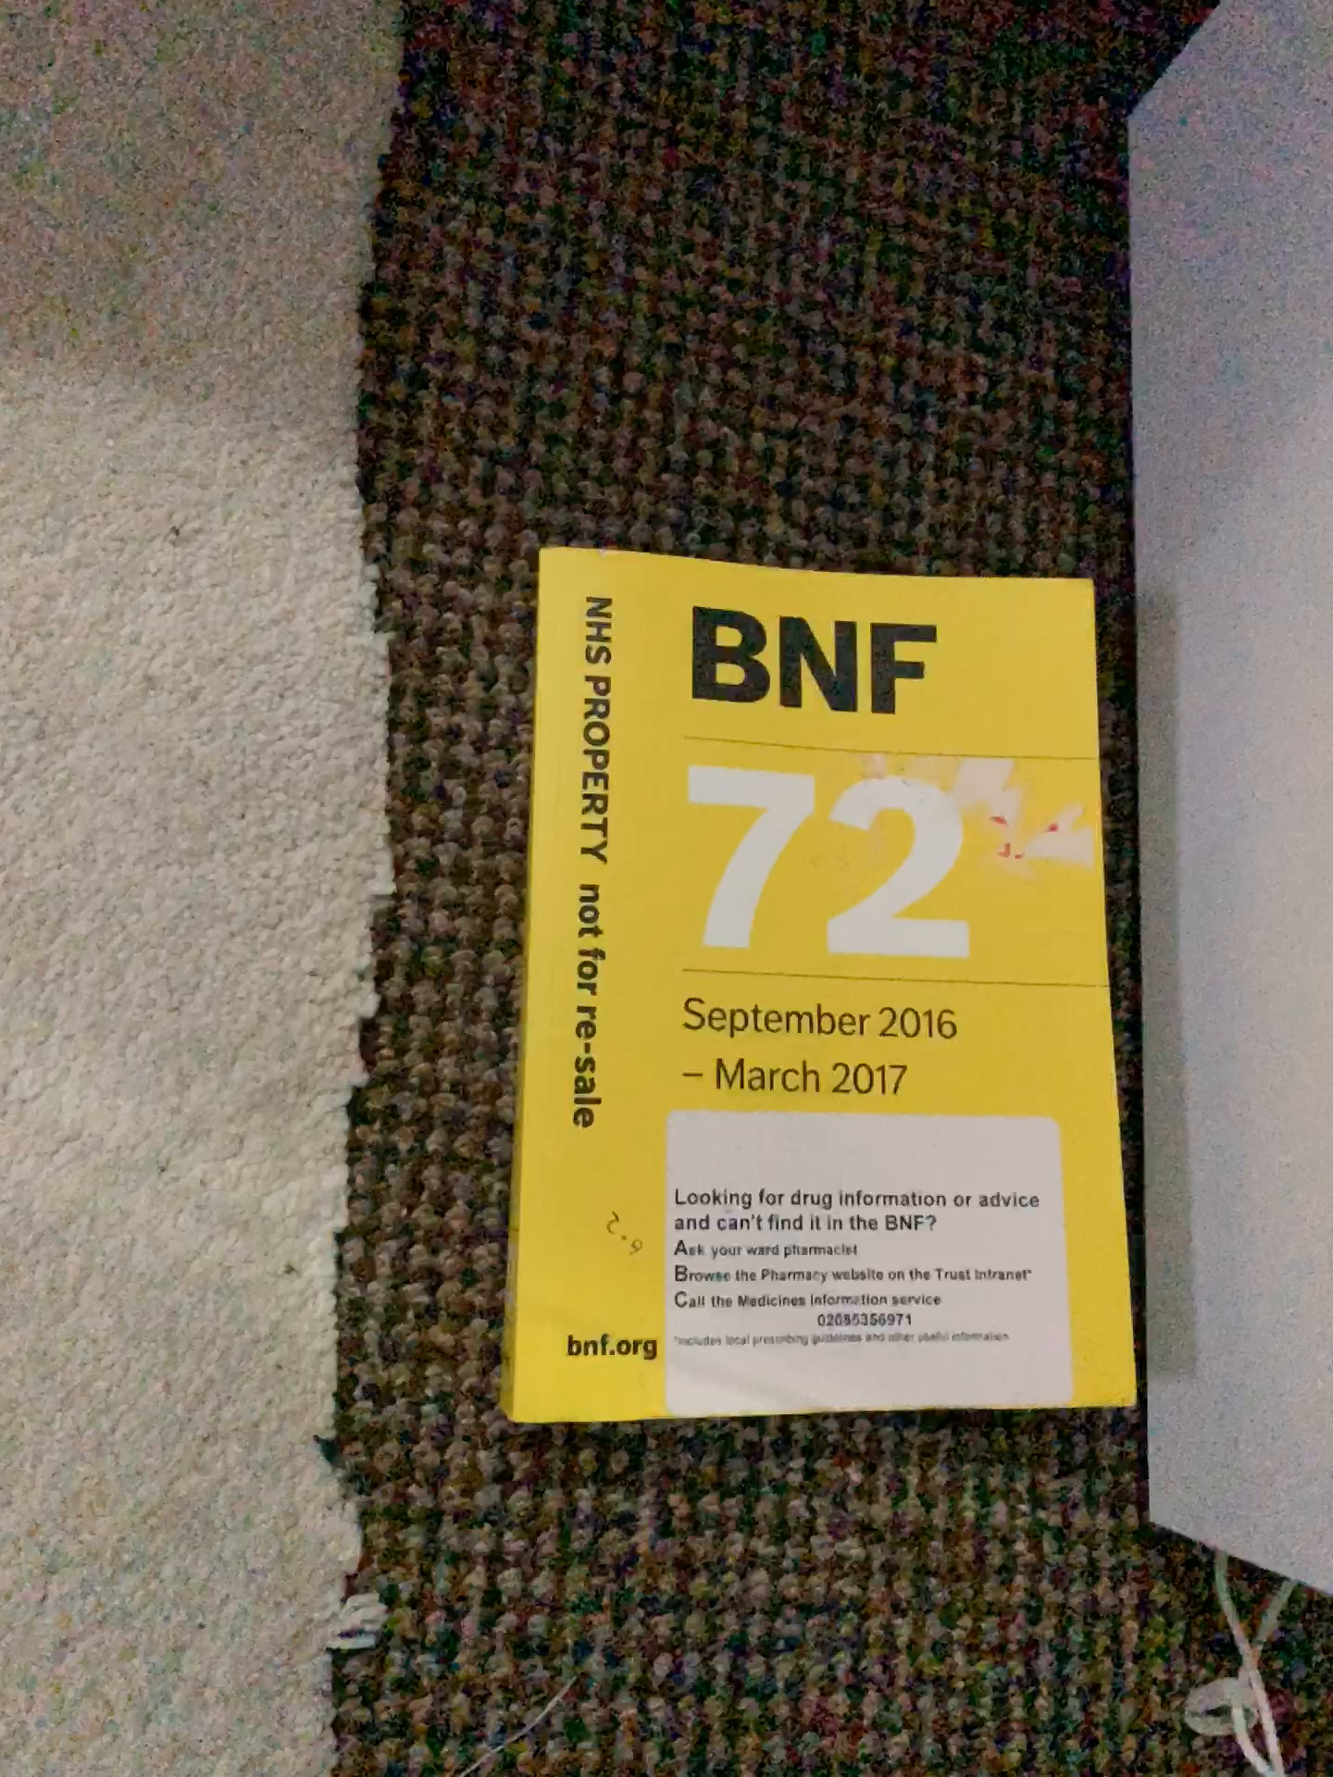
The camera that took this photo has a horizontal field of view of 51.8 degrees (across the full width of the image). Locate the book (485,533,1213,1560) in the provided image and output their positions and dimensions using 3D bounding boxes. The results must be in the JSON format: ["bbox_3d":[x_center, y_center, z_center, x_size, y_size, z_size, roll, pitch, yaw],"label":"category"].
[{"bbox_3d":[0.041,0.034,0.339,0.160,0.050,0.220,3,78,-15],"label":"book"}]
